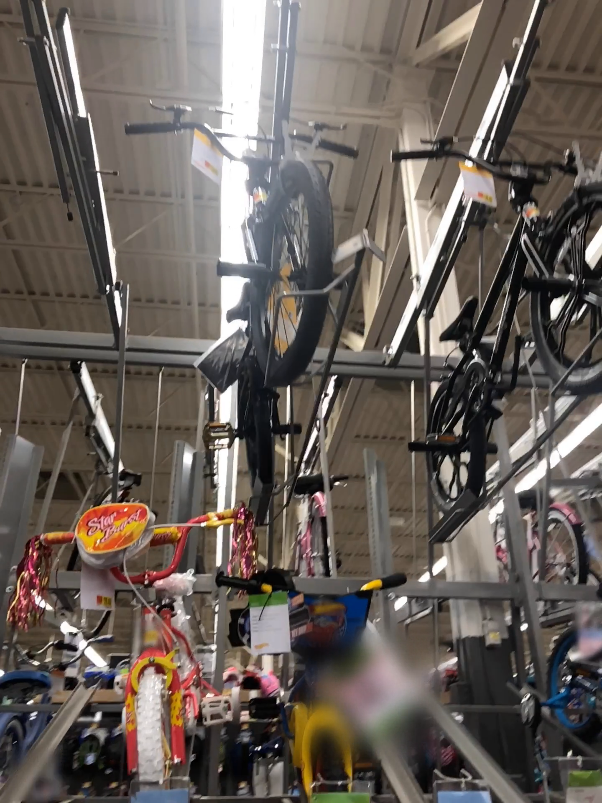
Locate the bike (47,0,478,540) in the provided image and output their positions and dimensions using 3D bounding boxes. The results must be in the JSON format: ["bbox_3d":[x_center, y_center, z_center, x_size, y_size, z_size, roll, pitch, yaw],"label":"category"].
[{"bbox_3d":[-0.142,-0.244,1.956,0.754,0.910,1.345,3,-29,-6],"label":"bike"}]
